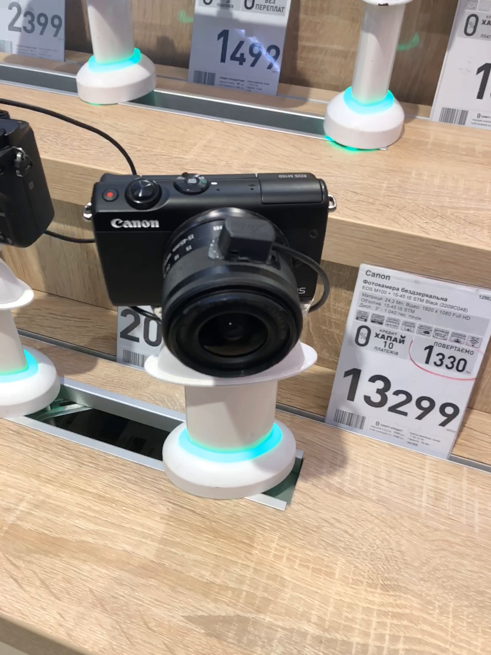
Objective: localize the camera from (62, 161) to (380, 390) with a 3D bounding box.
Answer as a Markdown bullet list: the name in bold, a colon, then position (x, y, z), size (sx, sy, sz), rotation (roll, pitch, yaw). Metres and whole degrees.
- **camera**: position (-0.012, -0.026, 0.240), size (0.112, 0.060, 0.082), rotation (-2, 45, -5)
